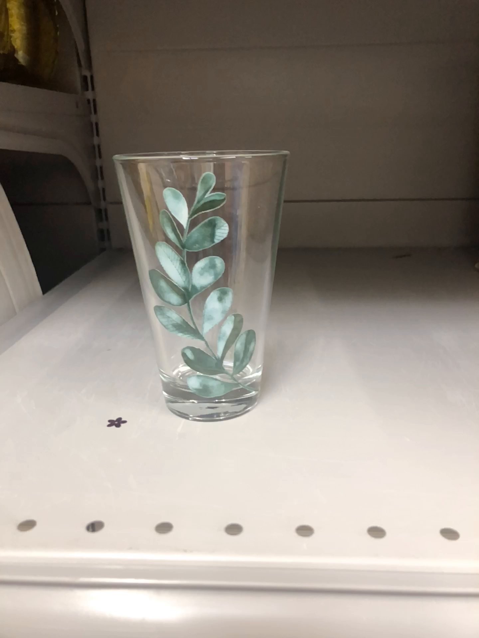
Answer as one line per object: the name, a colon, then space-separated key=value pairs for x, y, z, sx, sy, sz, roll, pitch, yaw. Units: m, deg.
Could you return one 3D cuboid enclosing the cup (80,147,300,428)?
cup: x=-0.014 y=-0.021 z=0.253 sx=0.083 sy=0.114 sz=0.084 roll=-1 pitch=17 yaw=0
